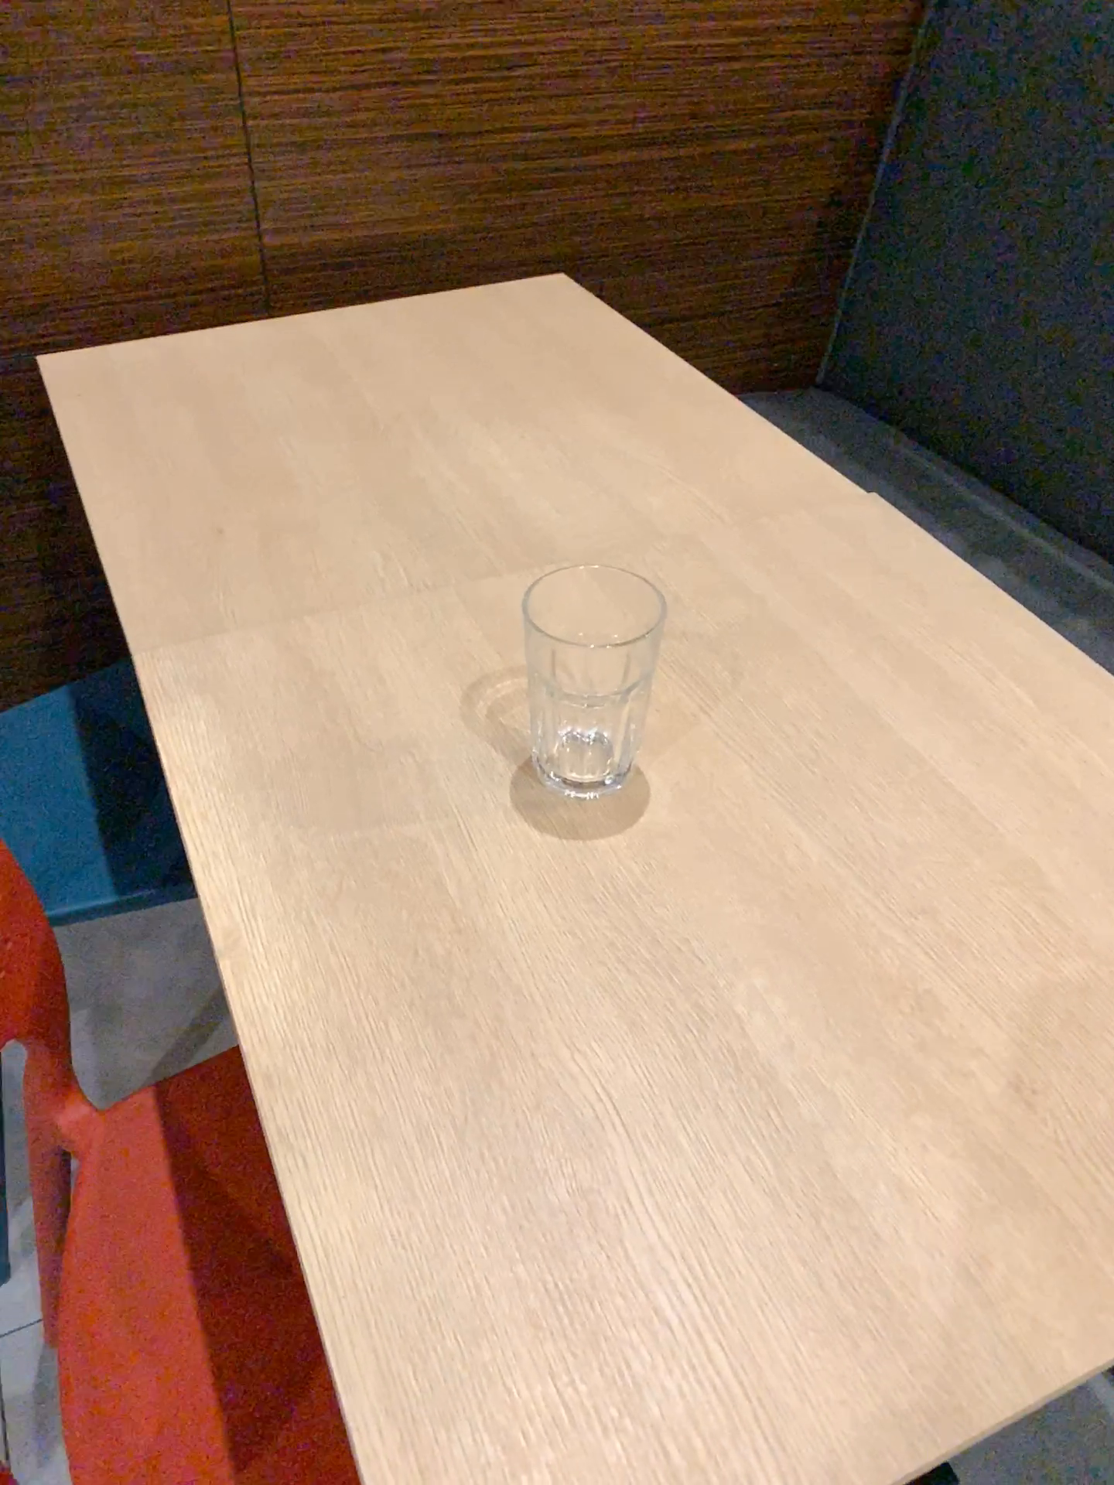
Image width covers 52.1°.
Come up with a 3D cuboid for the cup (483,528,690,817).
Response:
[{"bbox_3d":[0.015,-0.040,0.641,0.080,0.119,0.080,1,39,-1],"label":"cup"}]
